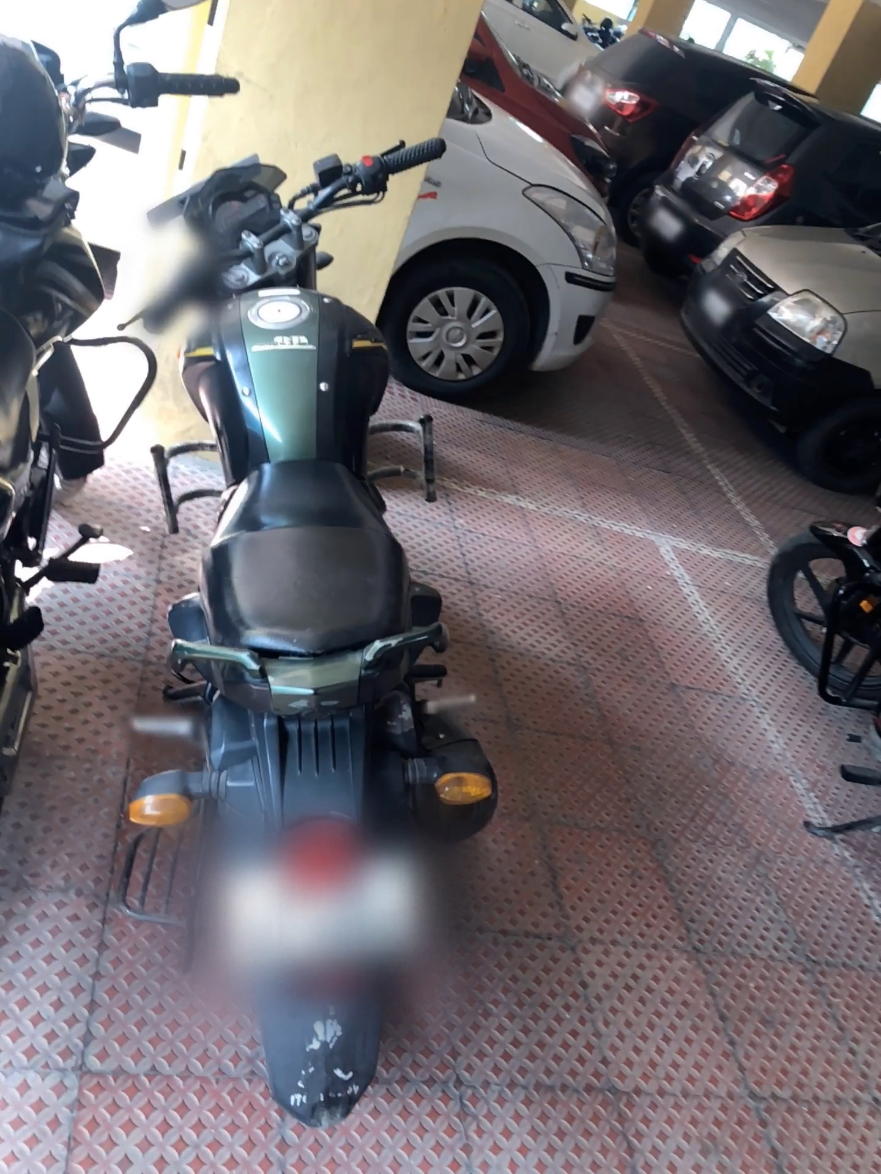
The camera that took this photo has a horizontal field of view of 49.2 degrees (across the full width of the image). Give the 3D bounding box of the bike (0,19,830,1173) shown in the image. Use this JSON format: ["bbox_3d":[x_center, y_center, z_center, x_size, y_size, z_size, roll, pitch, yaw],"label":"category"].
[{"bbox_3d":[-0.430,-0.172,1.708,0.739,1.090,1.817,9,32,-24],"label":"bike"}]
